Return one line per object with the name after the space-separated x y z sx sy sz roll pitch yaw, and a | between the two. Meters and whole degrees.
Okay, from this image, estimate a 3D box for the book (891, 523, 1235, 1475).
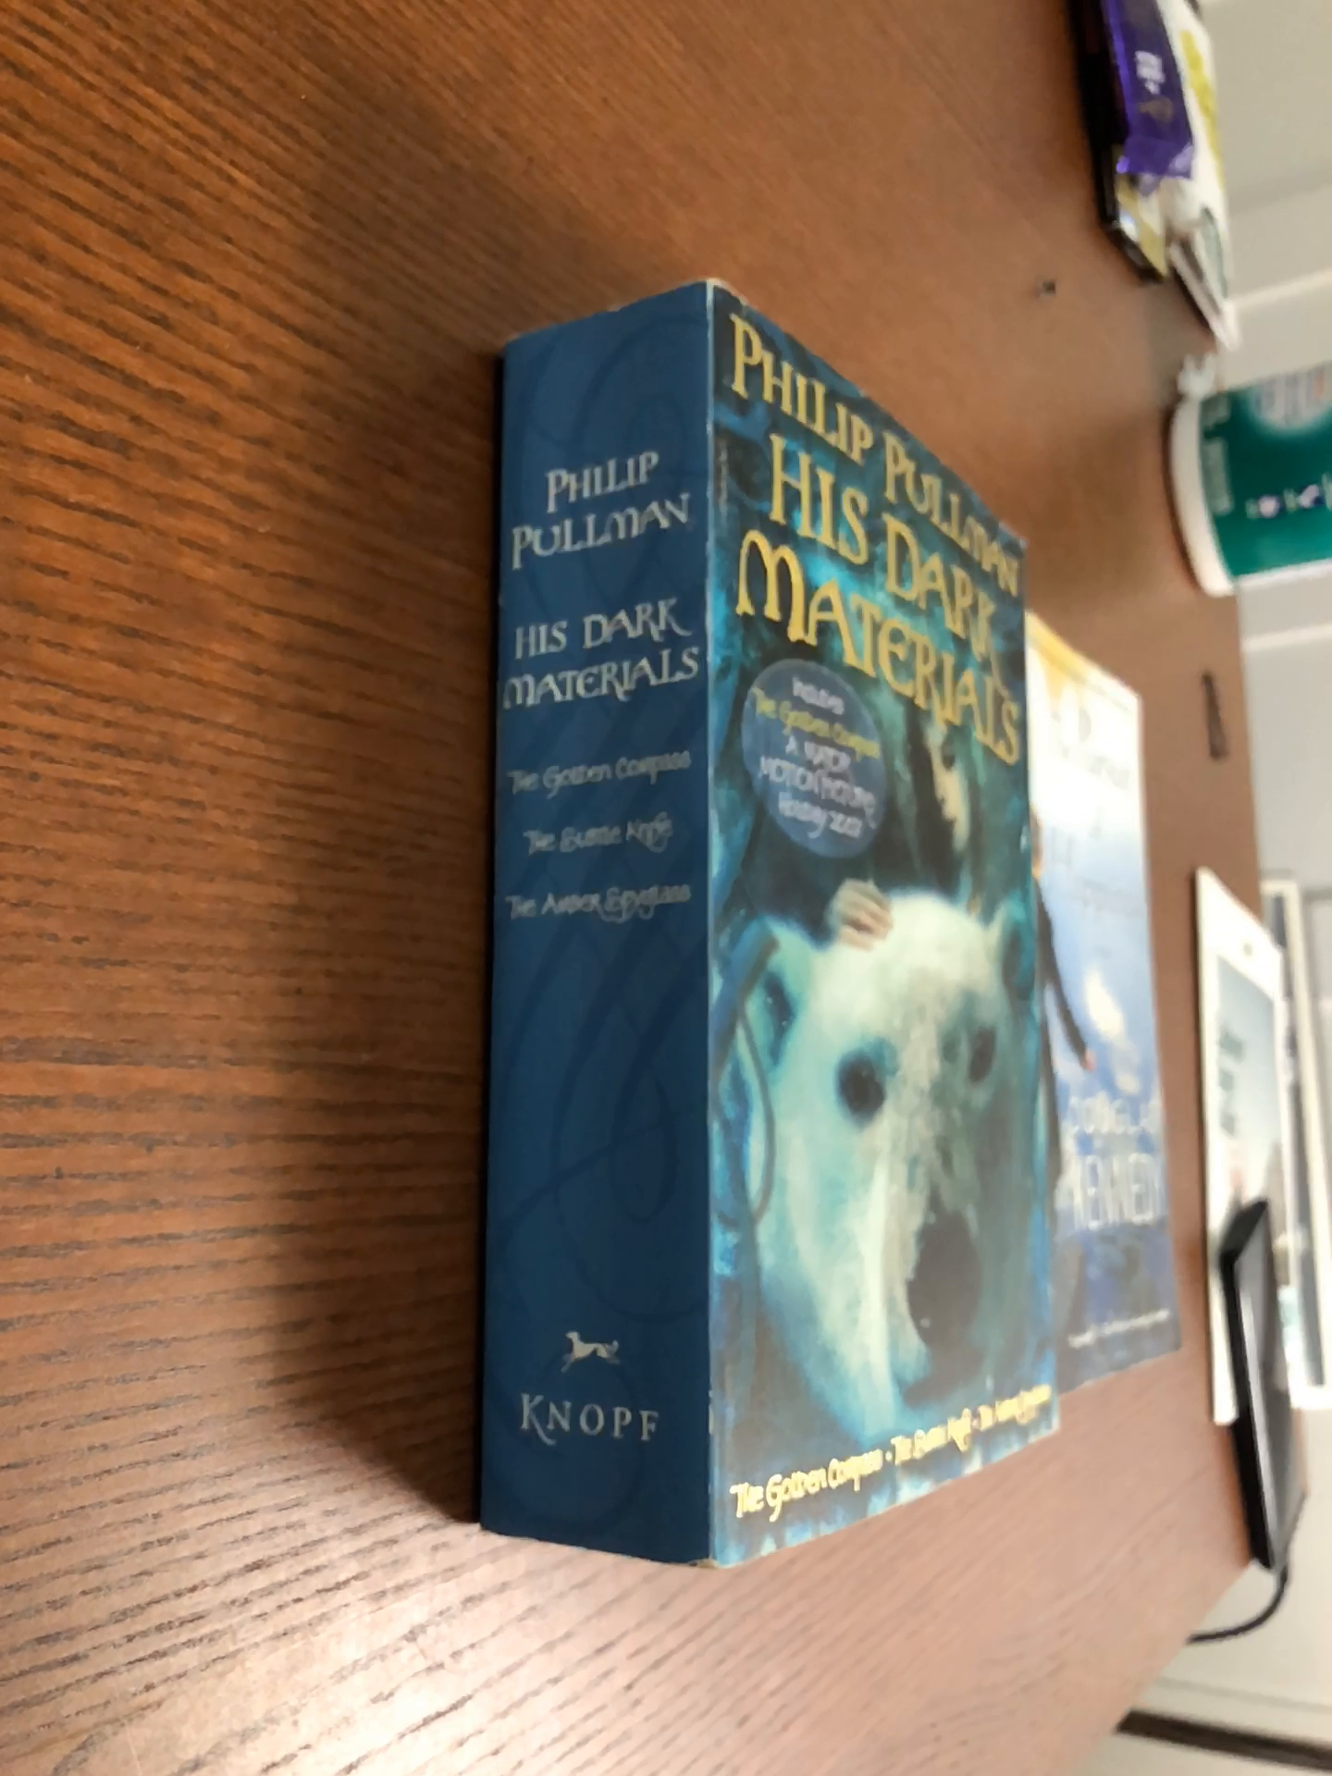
0.132 0.037 0.477 0.181 0.040 0.250 15 72 -56 | book

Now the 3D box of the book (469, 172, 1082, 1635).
0.035 0.007 0.340 0.181 0.050 0.250 15 72 -56 | book
